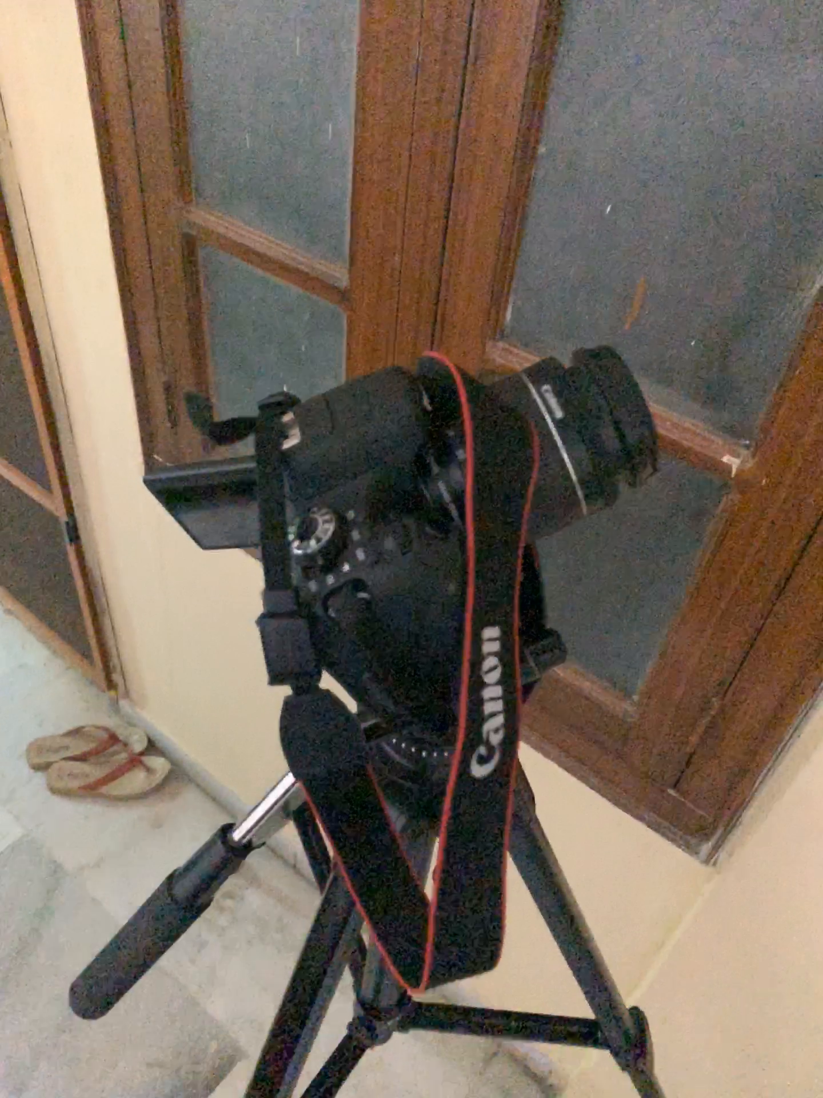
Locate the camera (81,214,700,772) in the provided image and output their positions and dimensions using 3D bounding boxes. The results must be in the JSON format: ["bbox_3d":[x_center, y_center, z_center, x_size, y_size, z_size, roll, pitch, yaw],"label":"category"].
[{"bbox_3d":[-0.015,-0.029,0.372,0.225,0.100,0.142,-24,46,1],"label":"camera"}]
